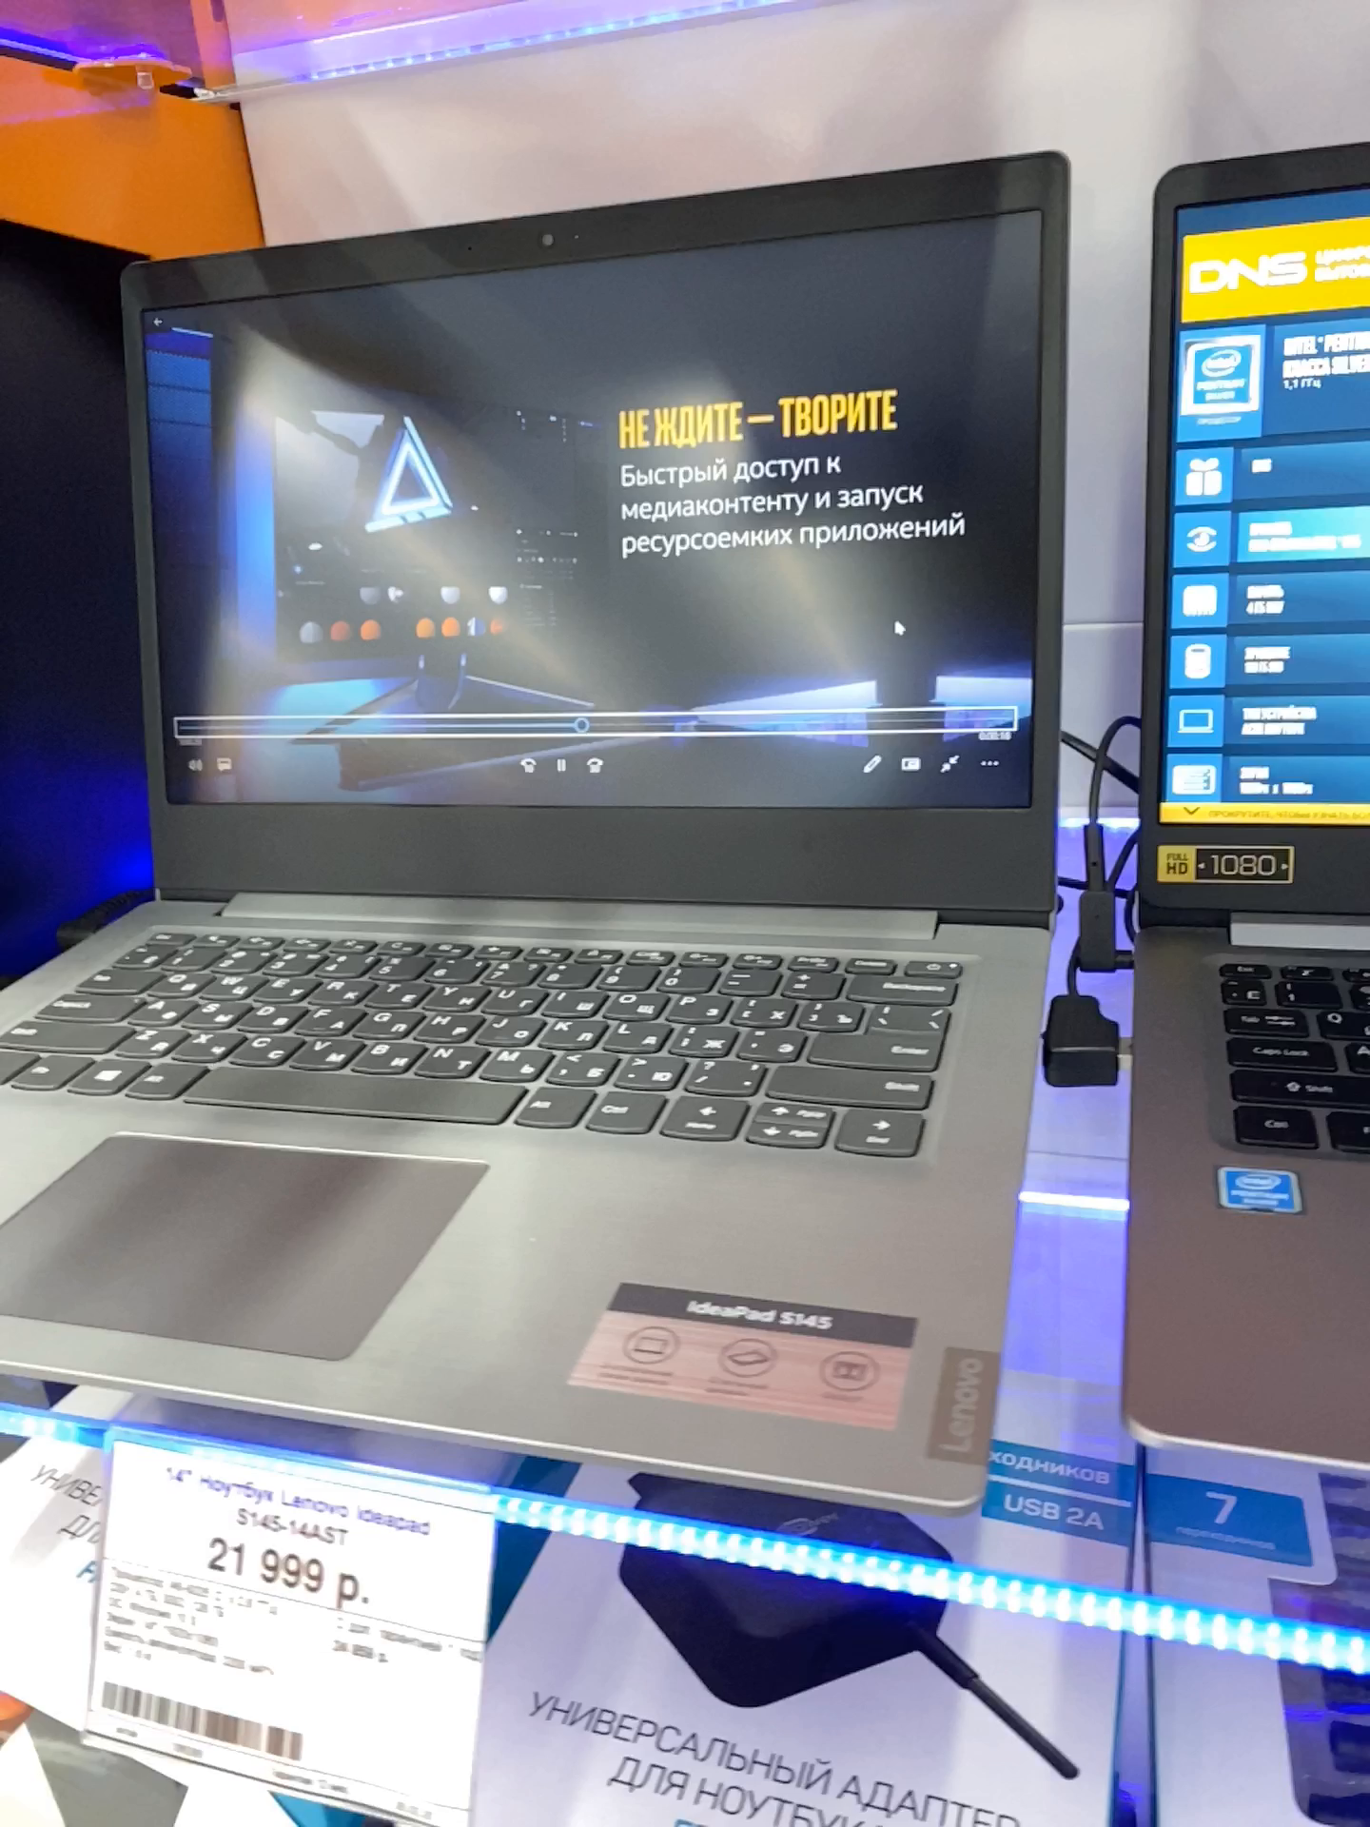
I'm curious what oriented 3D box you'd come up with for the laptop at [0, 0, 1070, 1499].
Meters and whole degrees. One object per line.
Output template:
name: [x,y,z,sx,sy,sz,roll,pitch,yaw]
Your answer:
laptop: [-0.076,-0.069,0.363,0.327,0.215,0.303,1,23,17]
